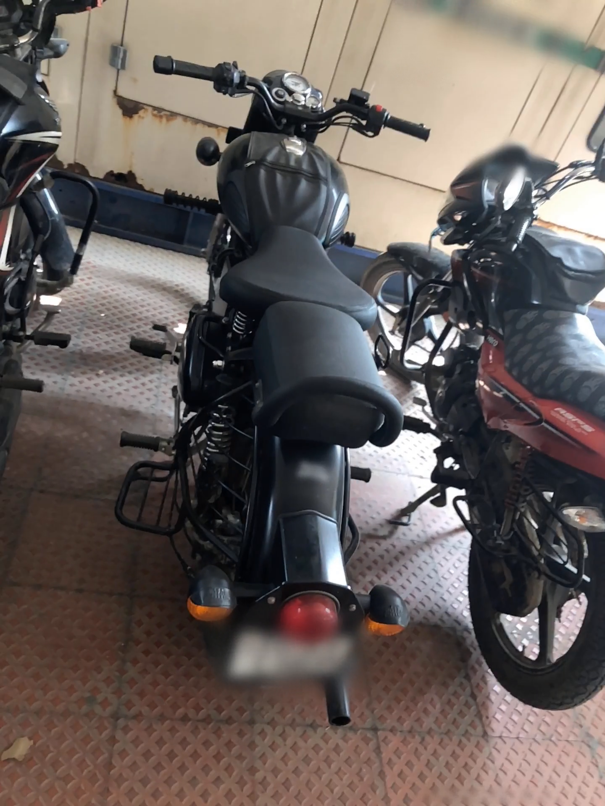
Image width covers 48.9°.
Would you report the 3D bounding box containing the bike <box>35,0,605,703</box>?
[{"bbox_3d":[-0.171,-0.287,1.748,0.710,0.919,1.694,9,39,-18],"label":"bike"}]
